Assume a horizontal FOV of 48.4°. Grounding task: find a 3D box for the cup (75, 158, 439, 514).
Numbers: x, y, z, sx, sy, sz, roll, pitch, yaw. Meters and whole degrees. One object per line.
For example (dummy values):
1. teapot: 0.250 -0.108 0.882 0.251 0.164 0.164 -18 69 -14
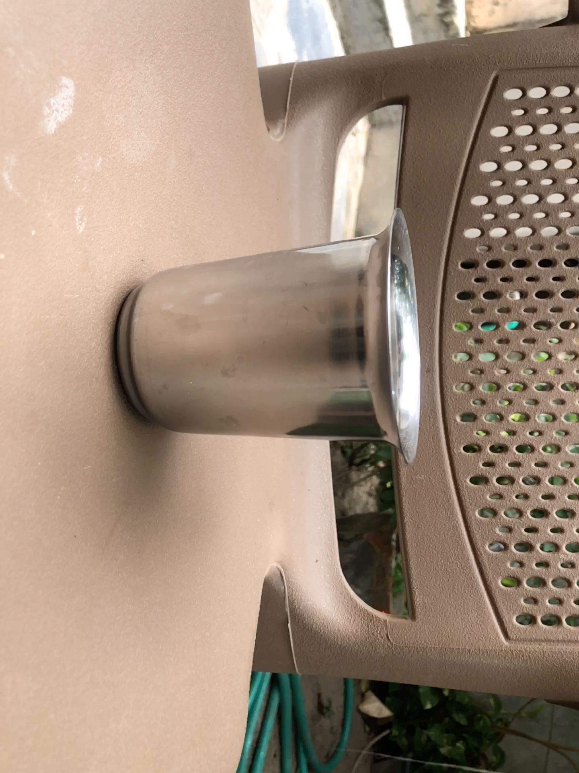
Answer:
1. cup: 0.000 -0.016 0.233 0.080 0.089 0.090 -71 151 -45
